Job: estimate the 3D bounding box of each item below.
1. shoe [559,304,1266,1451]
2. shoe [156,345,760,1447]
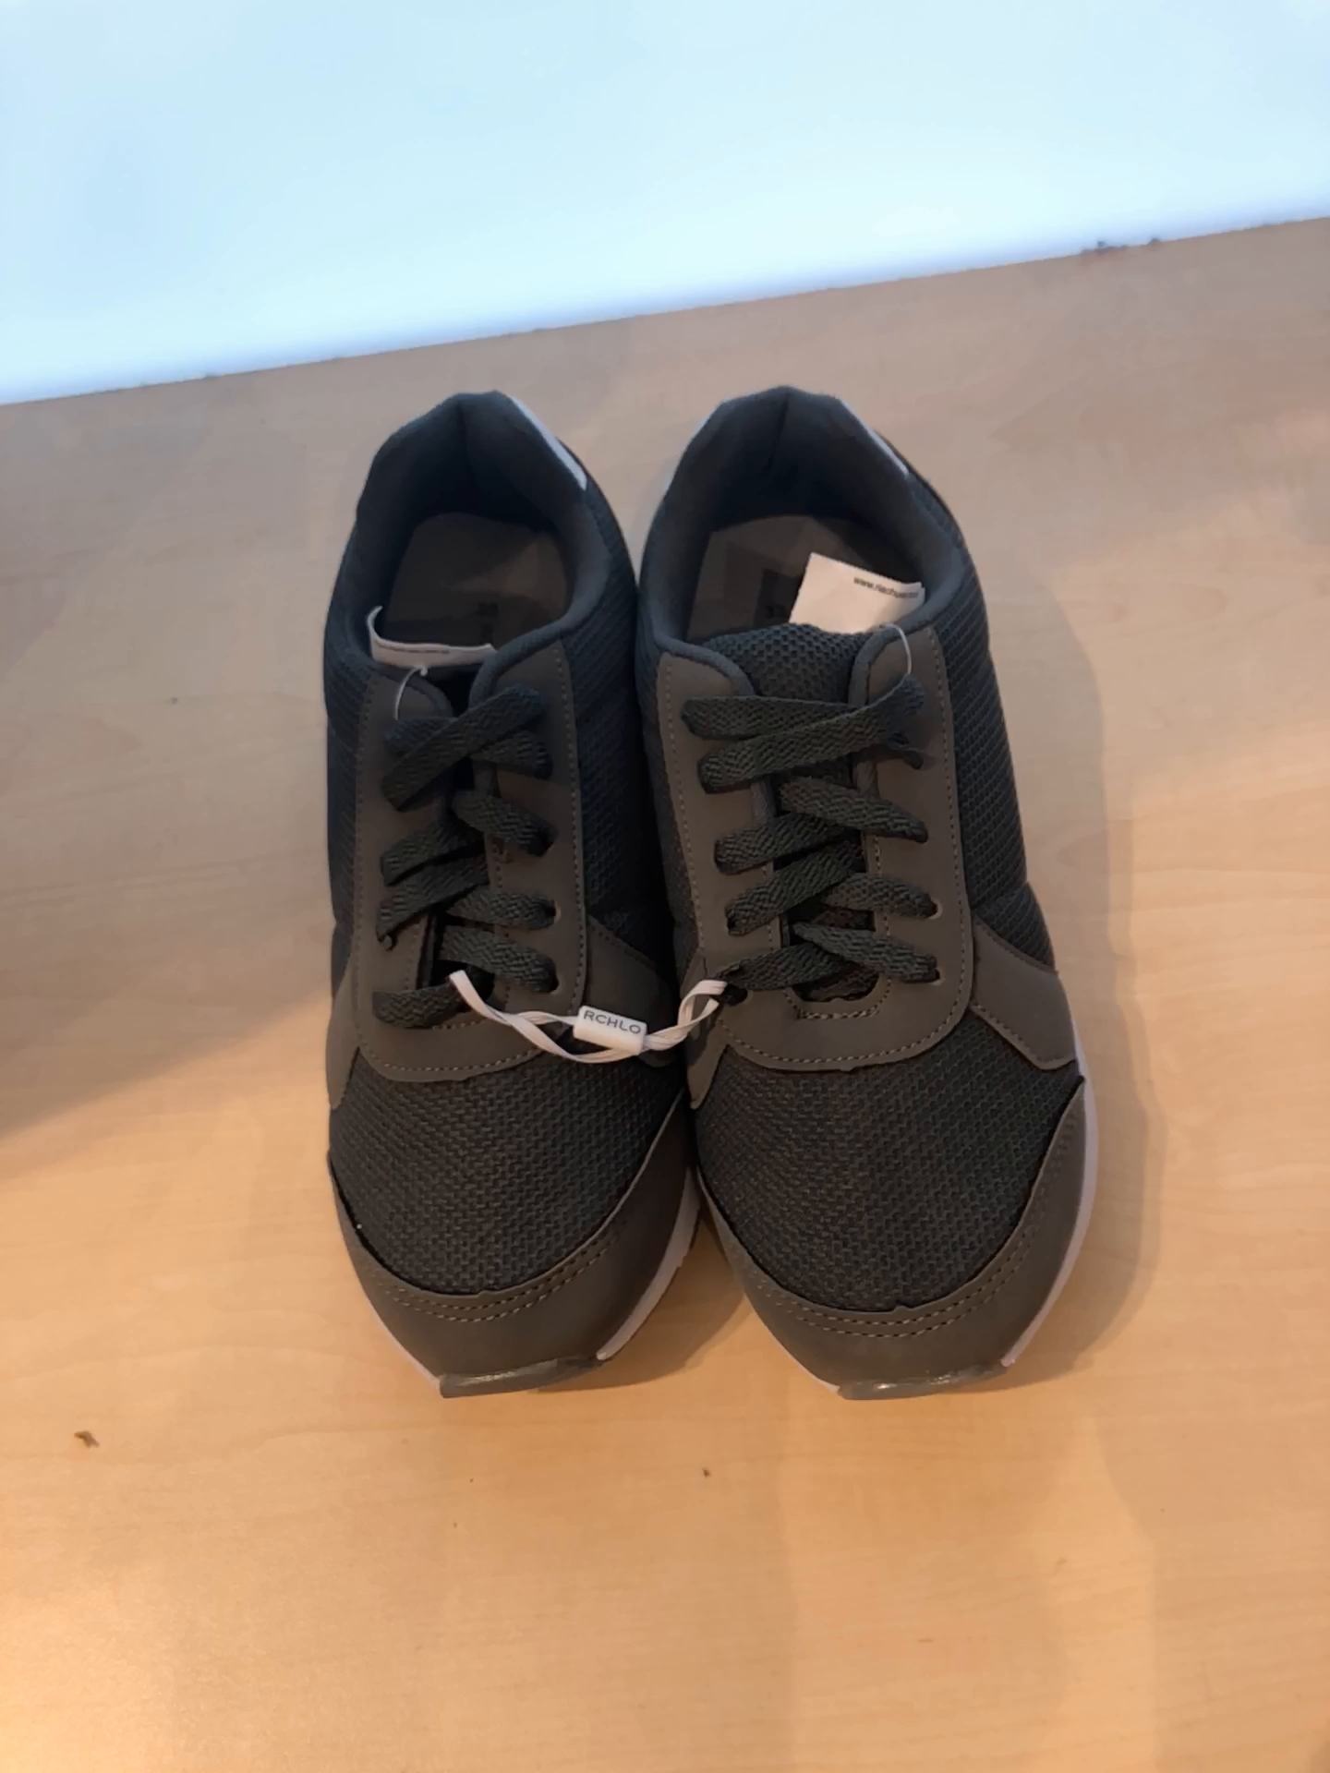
[{"bbox_3d":[0.043,-0.005,0.351,0.100,0.100,0.241,-9,63,3],"label":"shoe"},{"bbox_3d":[-0.042,0.000,0.351,0.100,0.100,0.231,-7,63,4],"label":"shoe"}]
